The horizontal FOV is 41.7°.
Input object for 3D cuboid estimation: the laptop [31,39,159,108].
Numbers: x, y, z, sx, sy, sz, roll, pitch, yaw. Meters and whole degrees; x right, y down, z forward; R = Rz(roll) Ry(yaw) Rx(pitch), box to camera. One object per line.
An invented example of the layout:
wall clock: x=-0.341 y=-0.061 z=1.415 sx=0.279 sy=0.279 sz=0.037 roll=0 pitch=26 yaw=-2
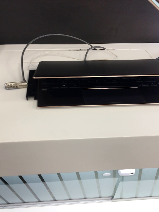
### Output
laptop: x=0.069 y=-0.089 z=0.519 sx=0.349 sy=0.072 sz=0.195 roll=-3 pitch=41 yaw=-2
